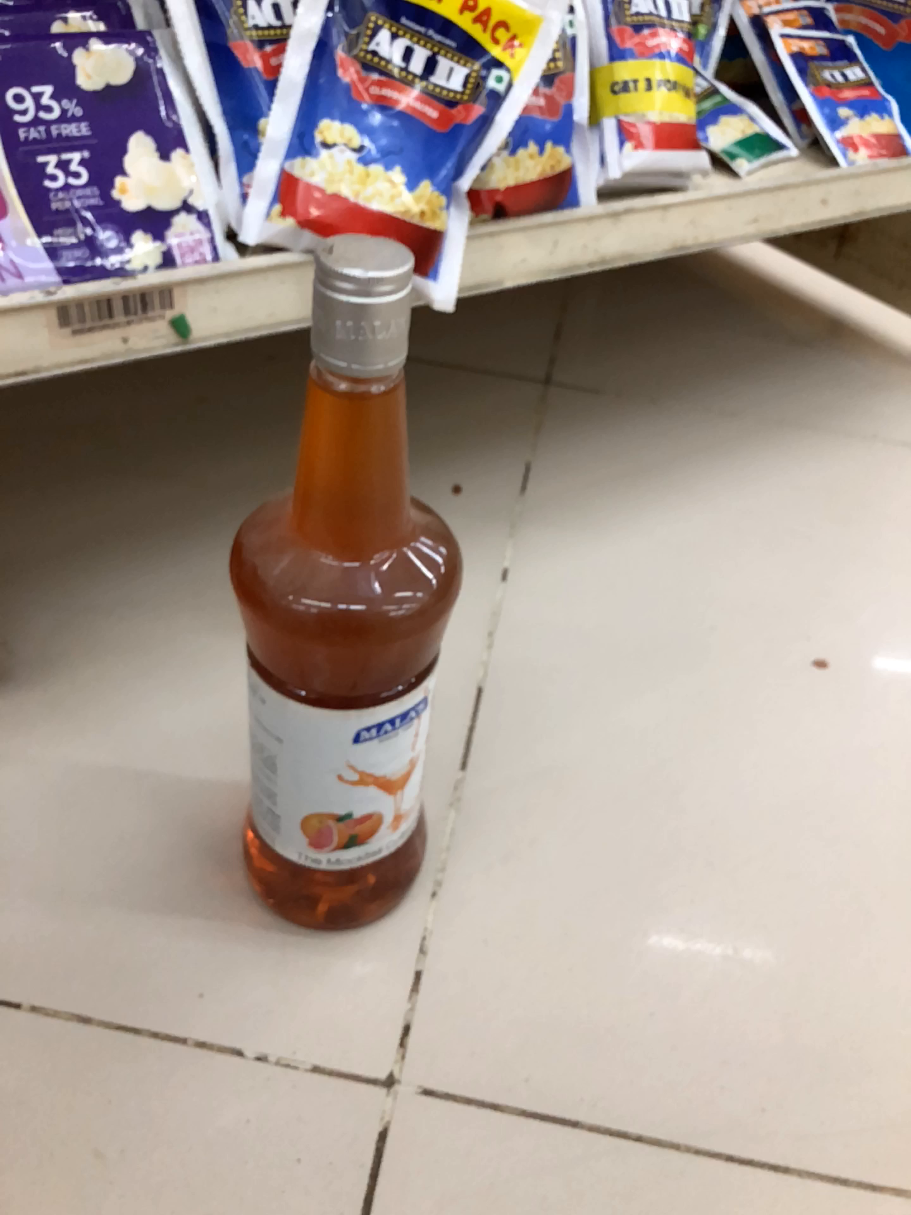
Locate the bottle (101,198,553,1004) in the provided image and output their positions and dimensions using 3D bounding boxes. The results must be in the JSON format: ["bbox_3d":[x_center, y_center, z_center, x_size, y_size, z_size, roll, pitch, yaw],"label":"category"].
[{"bbox_3d":[-0.049,0.017,0.376,0.090,0.288,0.090,4,42,-3],"label":"bottle"}]
